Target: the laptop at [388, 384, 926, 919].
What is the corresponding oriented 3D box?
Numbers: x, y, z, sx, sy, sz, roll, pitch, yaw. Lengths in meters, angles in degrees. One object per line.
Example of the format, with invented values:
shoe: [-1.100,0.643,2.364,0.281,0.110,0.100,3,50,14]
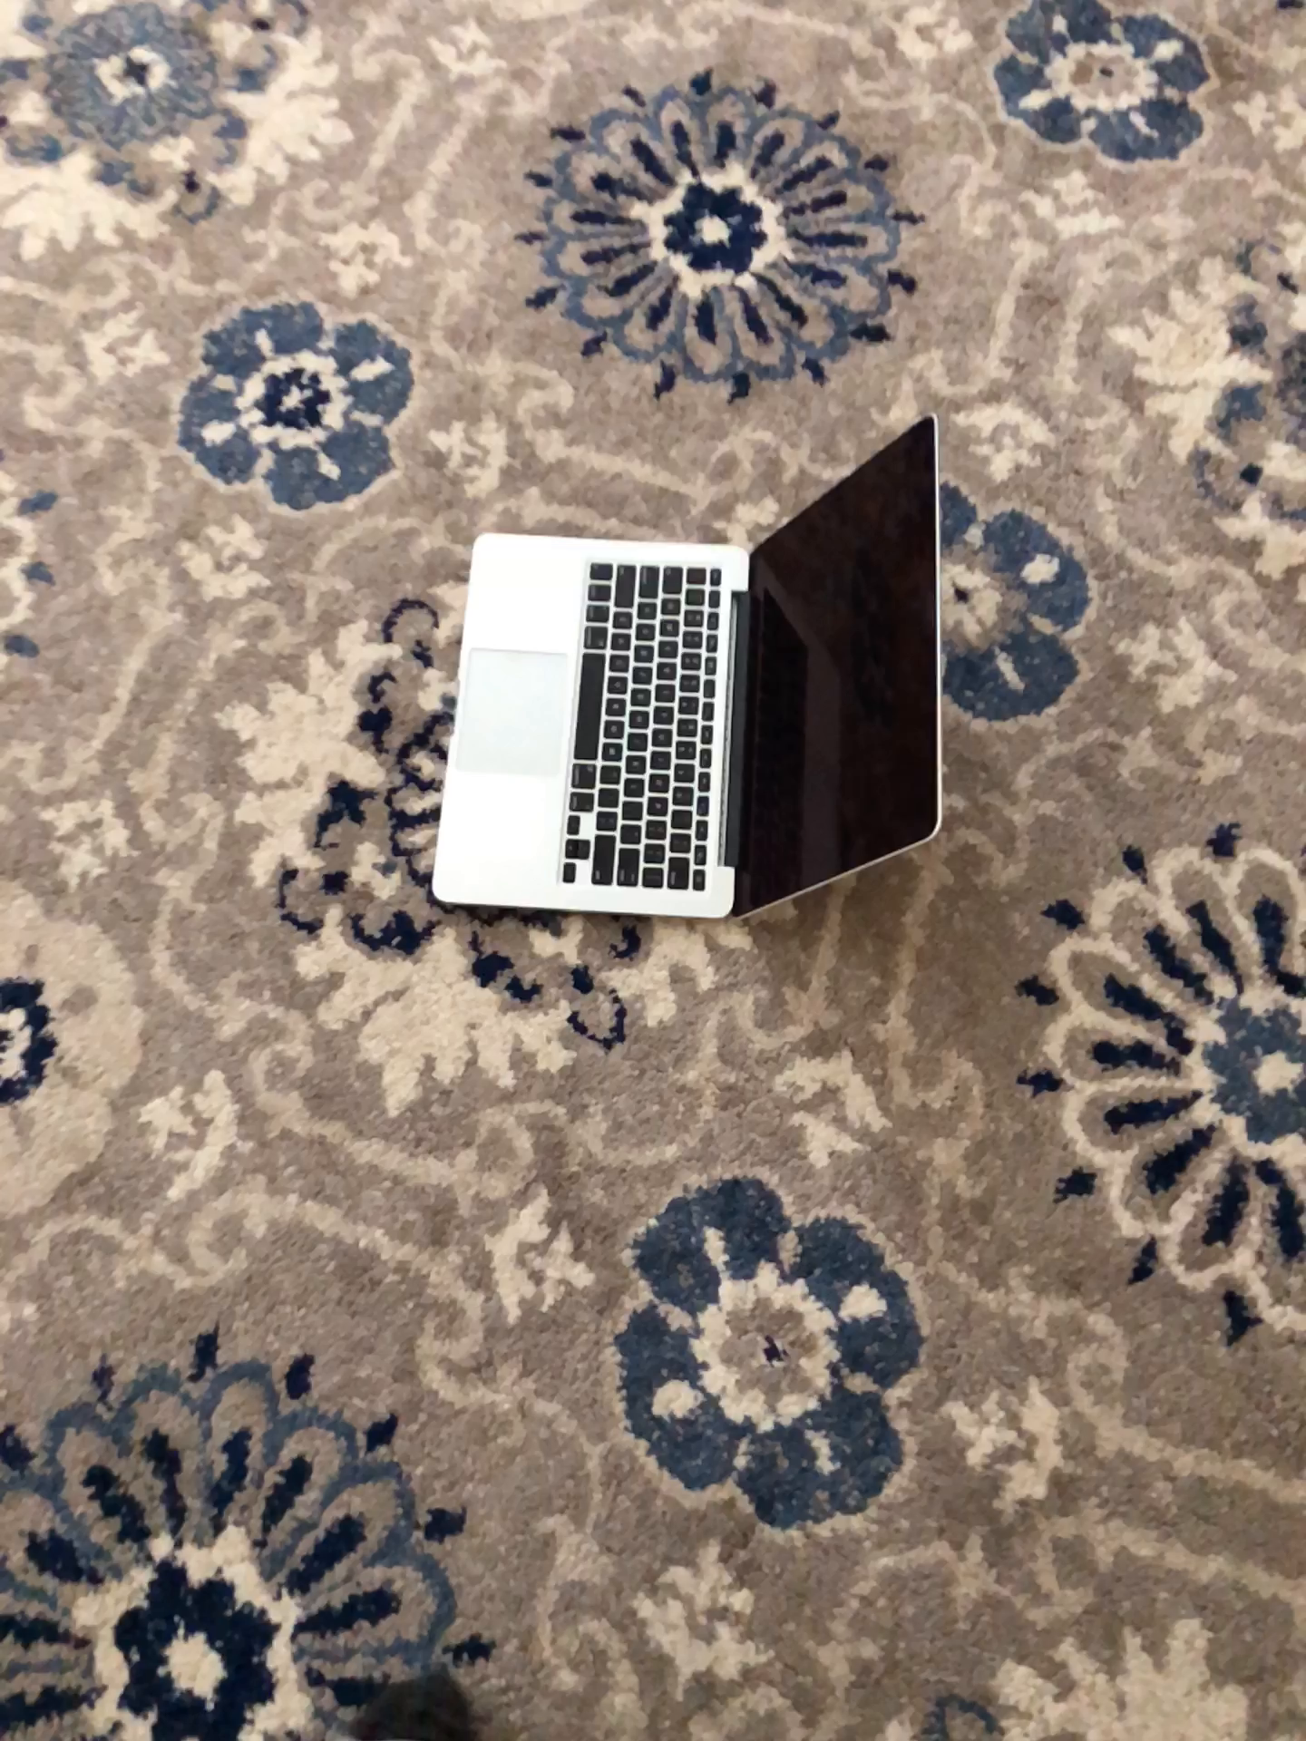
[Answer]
laptop: [0.013,-0.146,0.987,0.321,0.171,0.300,3,70,0]
